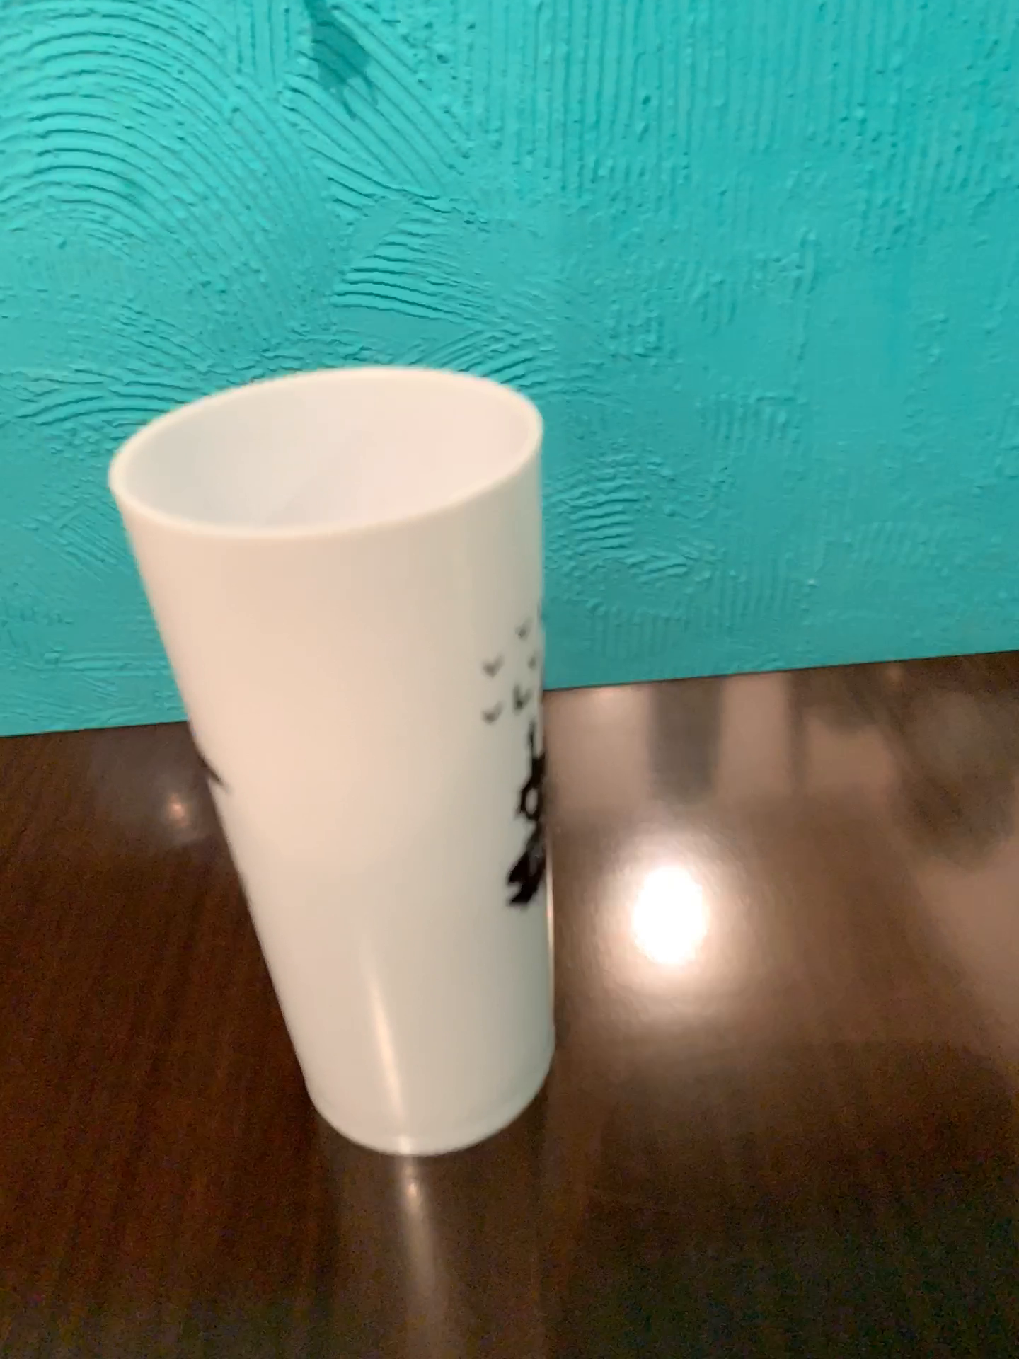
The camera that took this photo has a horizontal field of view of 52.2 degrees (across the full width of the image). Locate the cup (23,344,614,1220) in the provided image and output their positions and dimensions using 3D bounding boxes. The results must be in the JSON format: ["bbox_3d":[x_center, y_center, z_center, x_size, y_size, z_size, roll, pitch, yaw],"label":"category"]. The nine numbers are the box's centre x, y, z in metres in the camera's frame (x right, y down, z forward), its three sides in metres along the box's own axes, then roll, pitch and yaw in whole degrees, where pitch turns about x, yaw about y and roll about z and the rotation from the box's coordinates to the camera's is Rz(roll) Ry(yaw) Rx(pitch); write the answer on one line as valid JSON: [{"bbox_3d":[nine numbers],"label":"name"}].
[{"bbox_3d":[-0.020,0.025,0.196,0.070,0.149,0.070,-3,35,2],"label":"cup"}]
